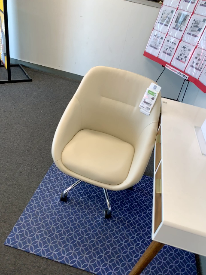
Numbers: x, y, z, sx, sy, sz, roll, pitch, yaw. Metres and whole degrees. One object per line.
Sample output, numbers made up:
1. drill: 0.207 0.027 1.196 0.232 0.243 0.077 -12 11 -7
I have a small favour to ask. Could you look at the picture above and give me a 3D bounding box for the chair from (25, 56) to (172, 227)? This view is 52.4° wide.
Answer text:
1. chair: -0.014 -0.009 1.409 0.670 0.736 0.694 16 37 5
